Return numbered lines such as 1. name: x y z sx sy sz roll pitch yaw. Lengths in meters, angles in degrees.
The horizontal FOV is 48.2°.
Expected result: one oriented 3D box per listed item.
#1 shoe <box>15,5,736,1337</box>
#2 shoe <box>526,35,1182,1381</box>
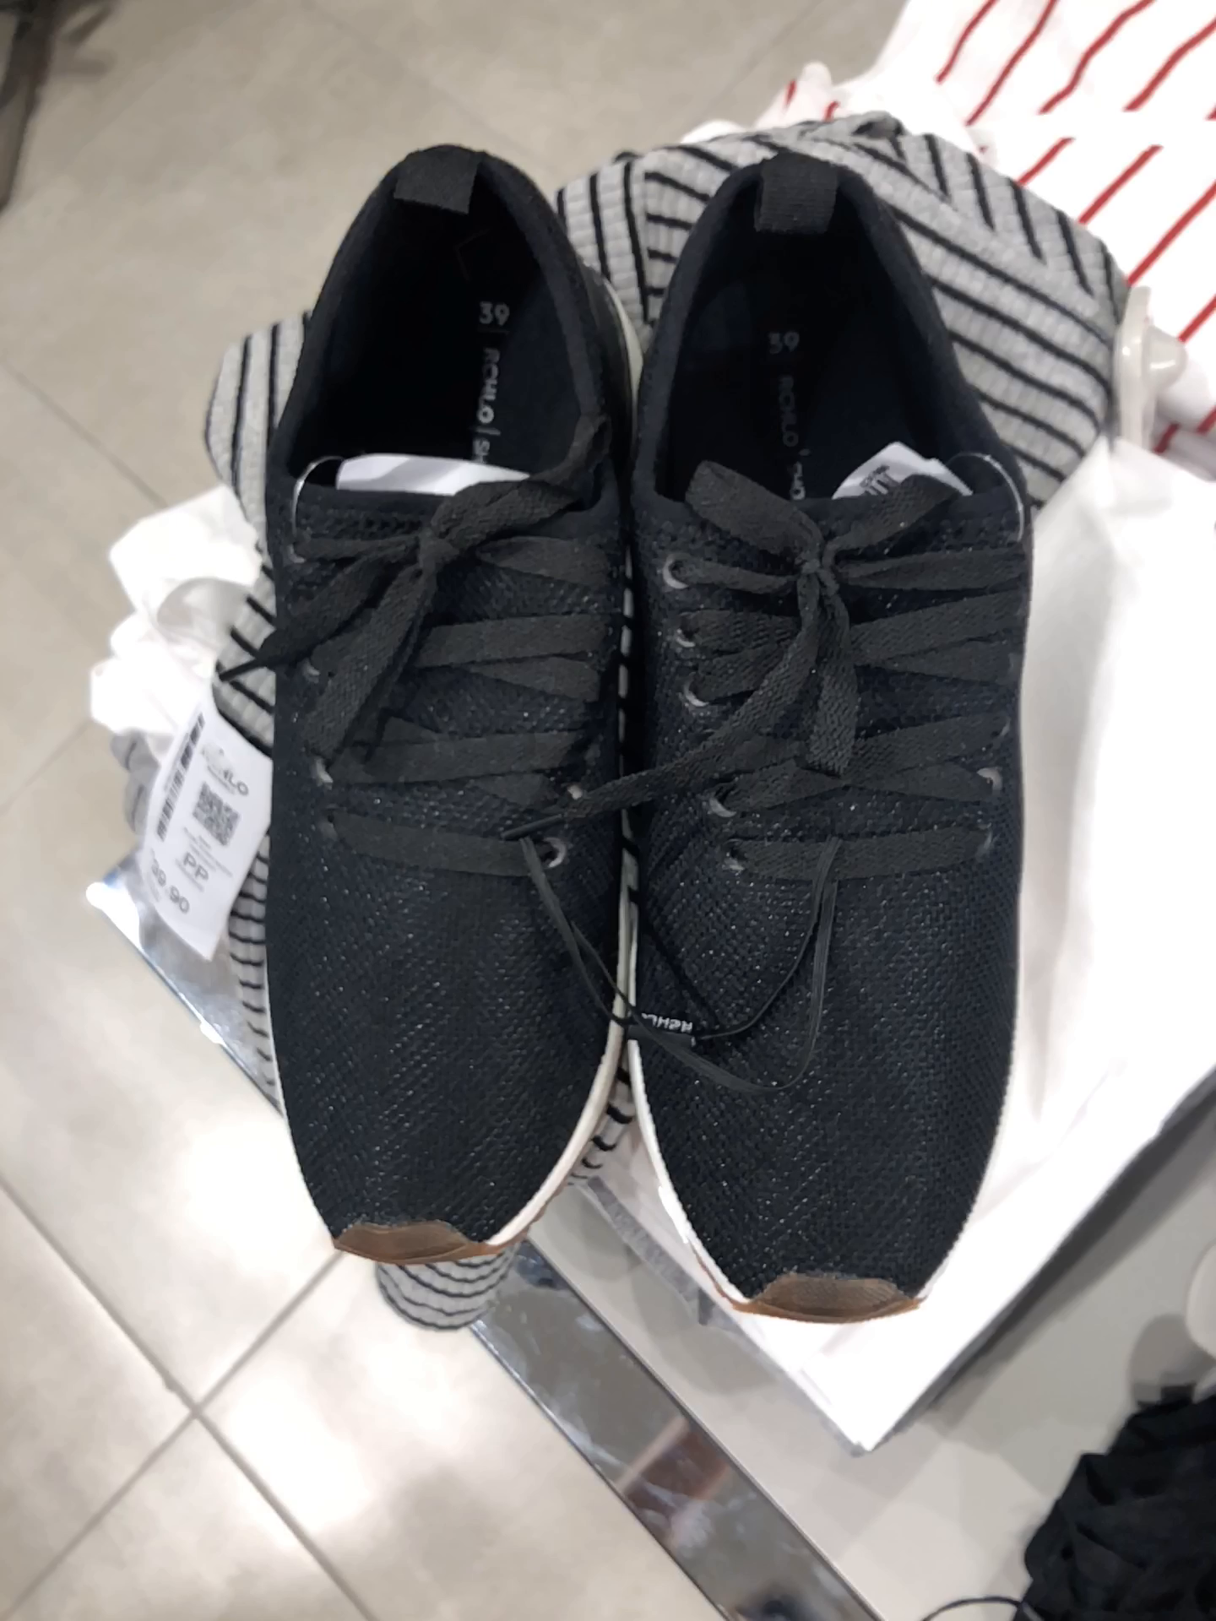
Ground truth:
1. shoe: -0.034 -0.030 0.318 0.100 0.120 0.260 4 78 9
2. shoe: 0.046 -0.020 0.312 0.100 0.120 0.270 -2 70 7
